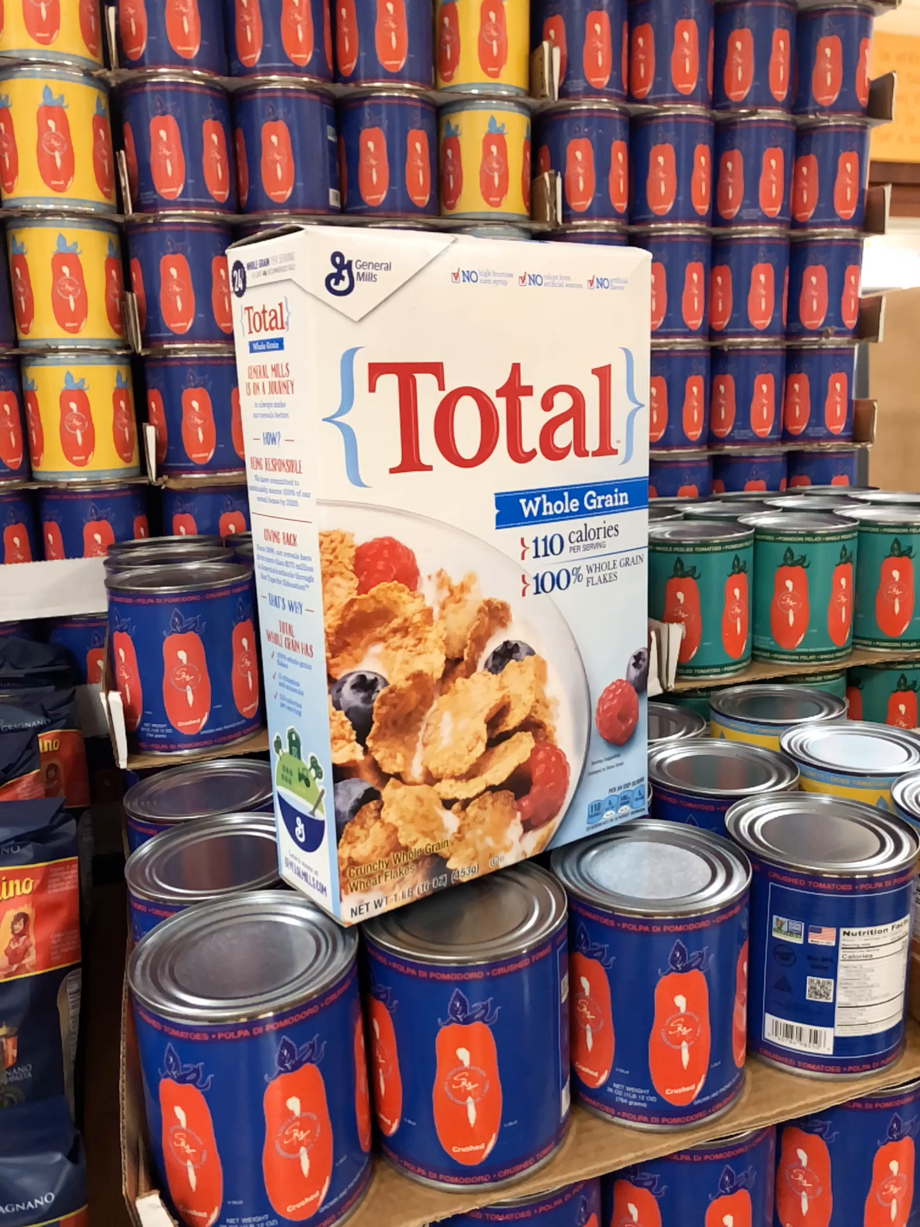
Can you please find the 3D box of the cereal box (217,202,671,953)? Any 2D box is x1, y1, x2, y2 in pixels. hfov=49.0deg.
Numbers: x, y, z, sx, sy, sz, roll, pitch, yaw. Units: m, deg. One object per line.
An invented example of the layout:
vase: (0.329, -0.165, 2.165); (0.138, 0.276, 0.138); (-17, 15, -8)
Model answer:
cereal box: (0.006, -0.025, 0.500); (0.210, 0.309, 0.070); (-10, 13, -35)
